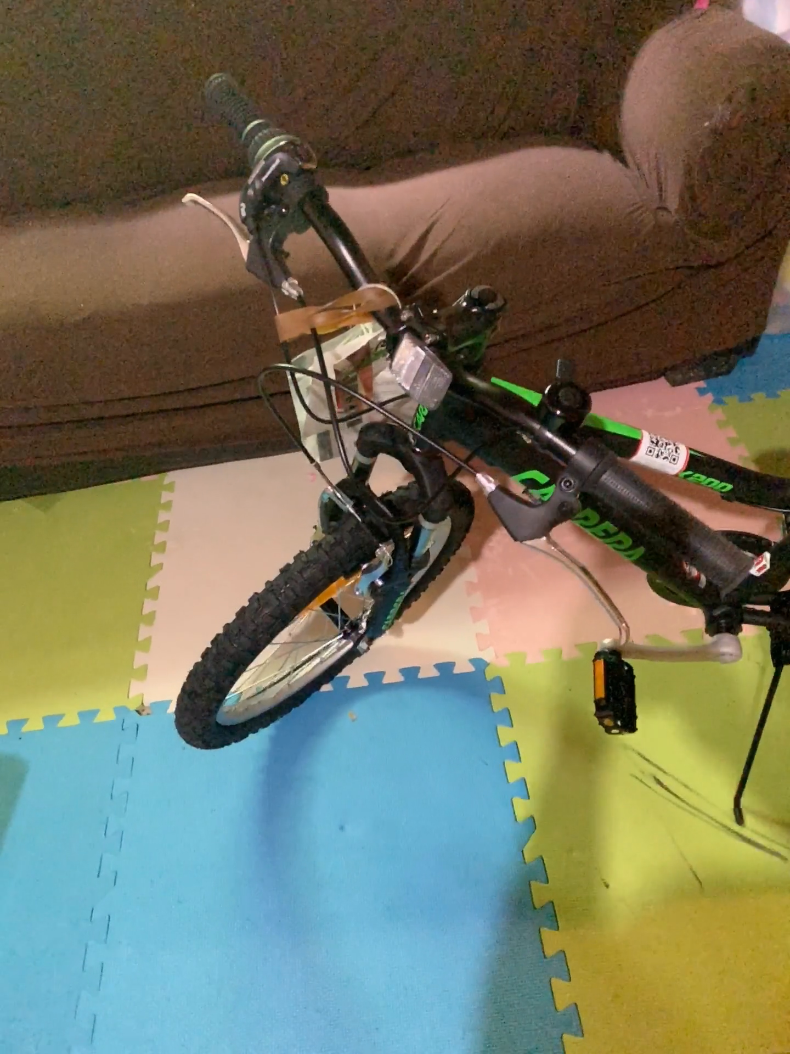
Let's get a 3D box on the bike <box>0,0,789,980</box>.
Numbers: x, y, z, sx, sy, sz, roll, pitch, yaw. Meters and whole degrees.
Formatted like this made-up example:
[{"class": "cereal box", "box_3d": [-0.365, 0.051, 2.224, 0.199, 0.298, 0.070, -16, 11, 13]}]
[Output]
[{"class": "bike", "box_3d": [0.343, 0.029, 0.856, 1.268, 0.841, 0.536, -6, 45, 6]}]
